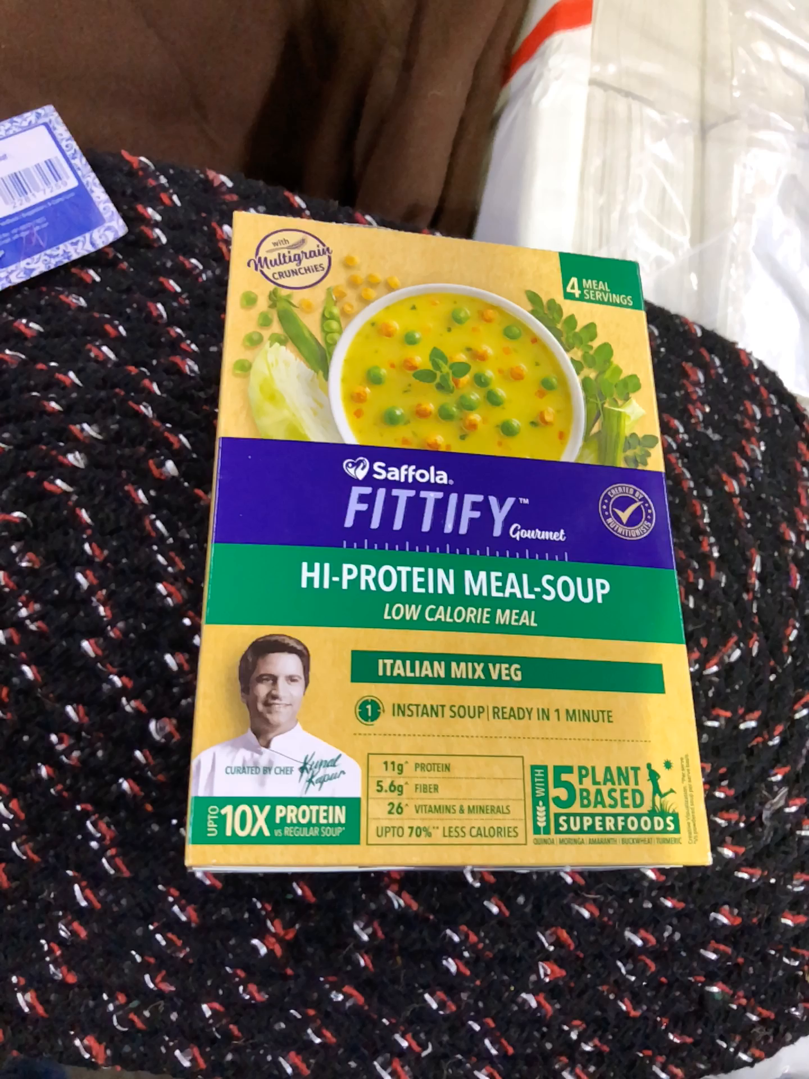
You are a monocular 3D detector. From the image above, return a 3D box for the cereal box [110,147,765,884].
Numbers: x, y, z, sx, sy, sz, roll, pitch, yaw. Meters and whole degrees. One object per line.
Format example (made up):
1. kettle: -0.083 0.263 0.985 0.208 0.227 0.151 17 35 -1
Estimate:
1. cereal box: 0.003 0.001 0.242 0.130 0.080 0.170 4 69 -10
